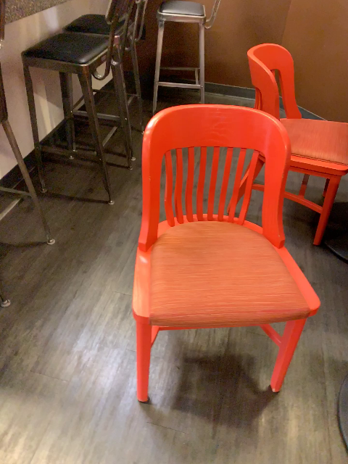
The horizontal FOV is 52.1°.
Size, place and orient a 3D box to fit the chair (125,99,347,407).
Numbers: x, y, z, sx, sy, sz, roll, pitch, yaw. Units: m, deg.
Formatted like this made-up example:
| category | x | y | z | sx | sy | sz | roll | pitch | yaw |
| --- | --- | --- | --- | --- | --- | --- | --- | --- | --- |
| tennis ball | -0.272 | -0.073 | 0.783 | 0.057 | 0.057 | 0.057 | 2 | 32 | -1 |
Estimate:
| category | x | y | z | sx | sy | sz | roll | pitch | yaw |
| --- | --- | --- | --- | --- | --- | --- | --- | --- | --- |
| chair | 0.136 | 0.082 | 1.169 | 0.560 | 0.806 | 0.583 | -1 | 42 | -6 |
